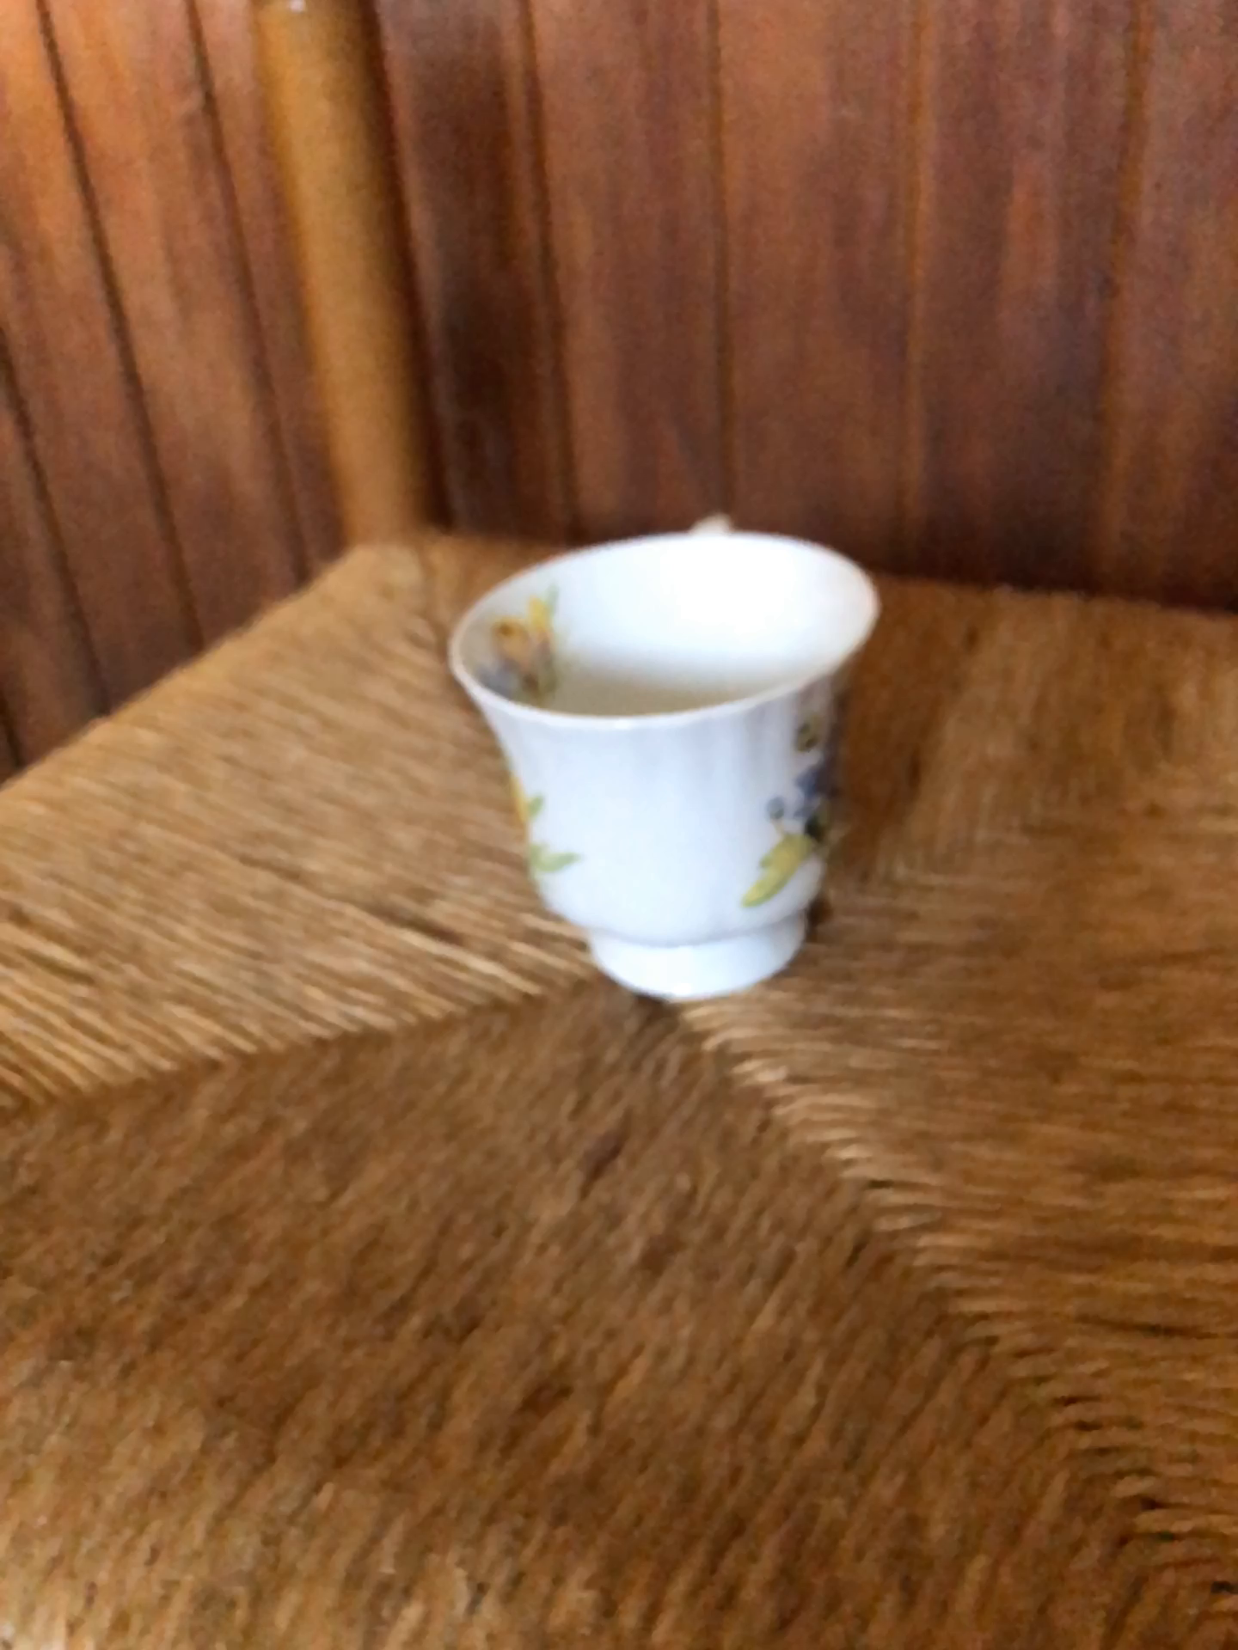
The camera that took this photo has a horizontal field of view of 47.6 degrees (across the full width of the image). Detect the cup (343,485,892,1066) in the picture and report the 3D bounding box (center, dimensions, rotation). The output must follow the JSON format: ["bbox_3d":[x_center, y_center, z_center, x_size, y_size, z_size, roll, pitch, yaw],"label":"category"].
[{"bbox_3d":[0.011,-0.020,0.314,0.090,0.070,0.131,3,32,13],"label":"cup"}]
